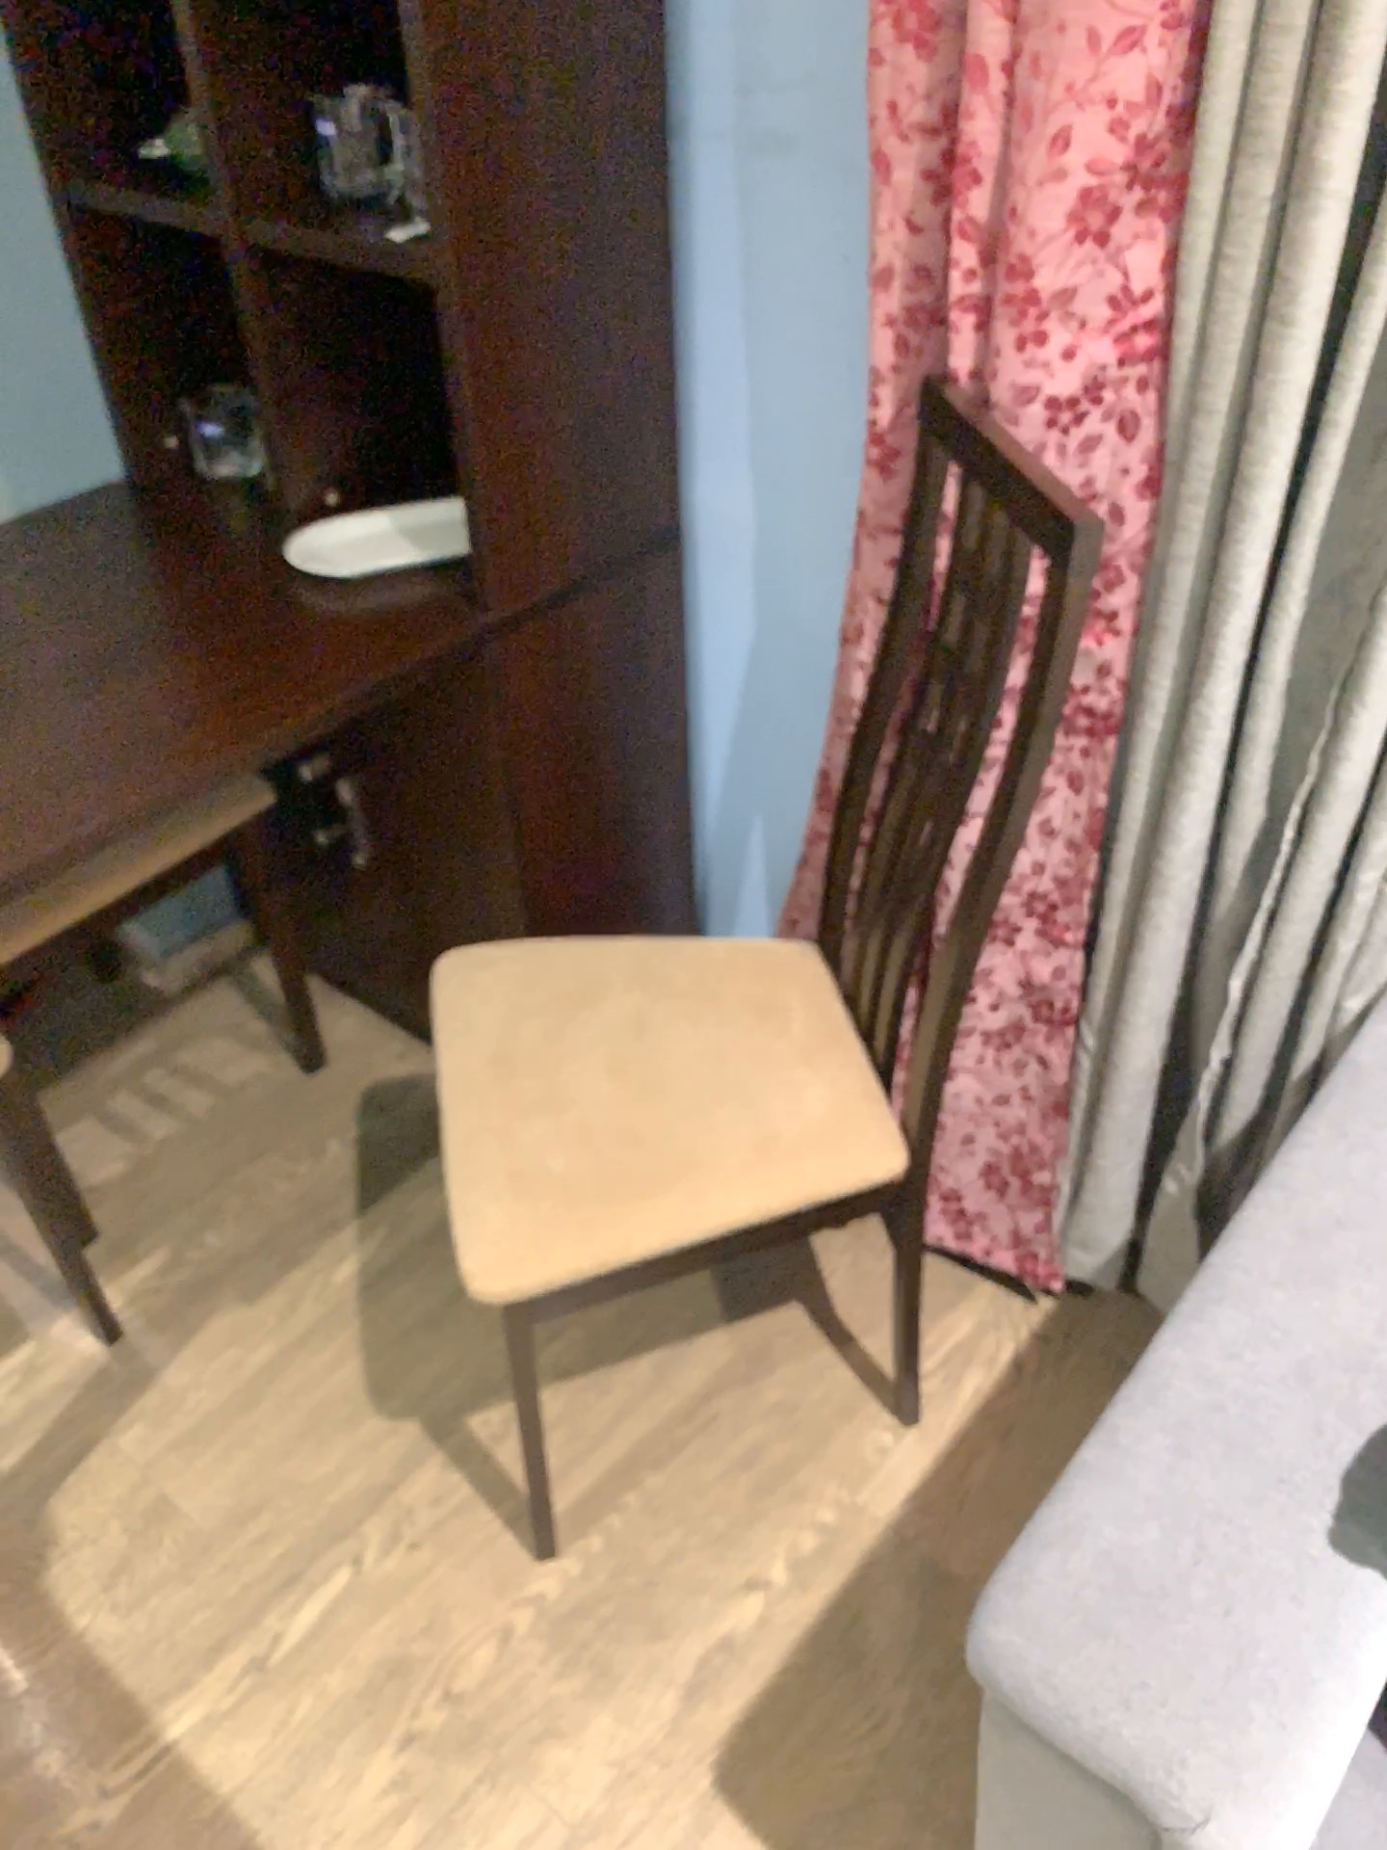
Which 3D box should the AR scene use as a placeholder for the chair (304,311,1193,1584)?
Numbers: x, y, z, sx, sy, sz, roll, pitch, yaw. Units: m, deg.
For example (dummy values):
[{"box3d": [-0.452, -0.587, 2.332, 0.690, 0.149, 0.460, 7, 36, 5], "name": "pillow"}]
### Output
[{"box3d": [0.003, 0.045, 1.321, 0.510, 0.976, 0.532, -10, 39, -9], "name": "chair"}]
